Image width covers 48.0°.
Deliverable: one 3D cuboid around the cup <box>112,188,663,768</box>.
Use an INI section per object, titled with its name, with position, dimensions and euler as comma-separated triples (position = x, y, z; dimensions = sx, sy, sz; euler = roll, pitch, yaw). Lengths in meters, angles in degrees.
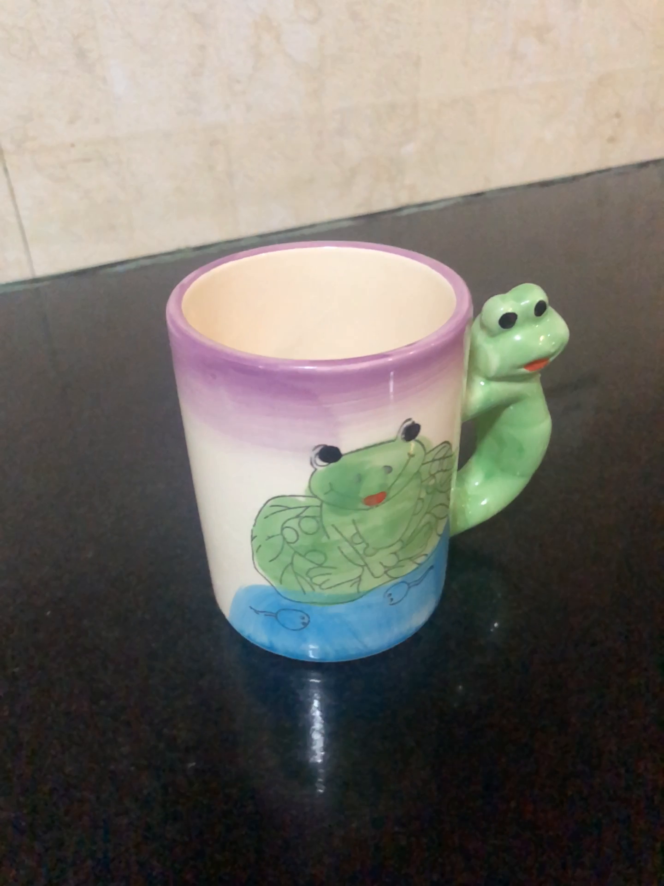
[cup]
position = 0.015, 0.001, 0.214
dimensions = 0.110, 0.109, 0.080
euler = -23, 39, -28
